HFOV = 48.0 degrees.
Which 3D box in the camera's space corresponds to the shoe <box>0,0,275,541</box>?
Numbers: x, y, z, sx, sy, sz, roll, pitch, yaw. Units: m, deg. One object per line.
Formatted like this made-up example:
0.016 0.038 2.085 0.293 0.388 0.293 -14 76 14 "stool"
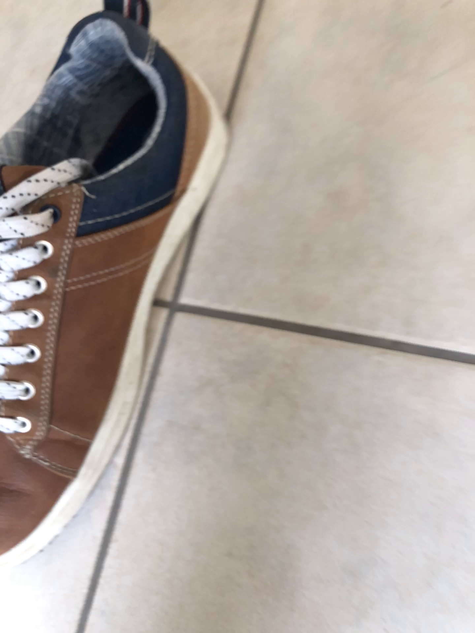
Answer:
-0.099 -0.060 0.298 0.100 0.120 0.320 19 81 24 "shoe"
